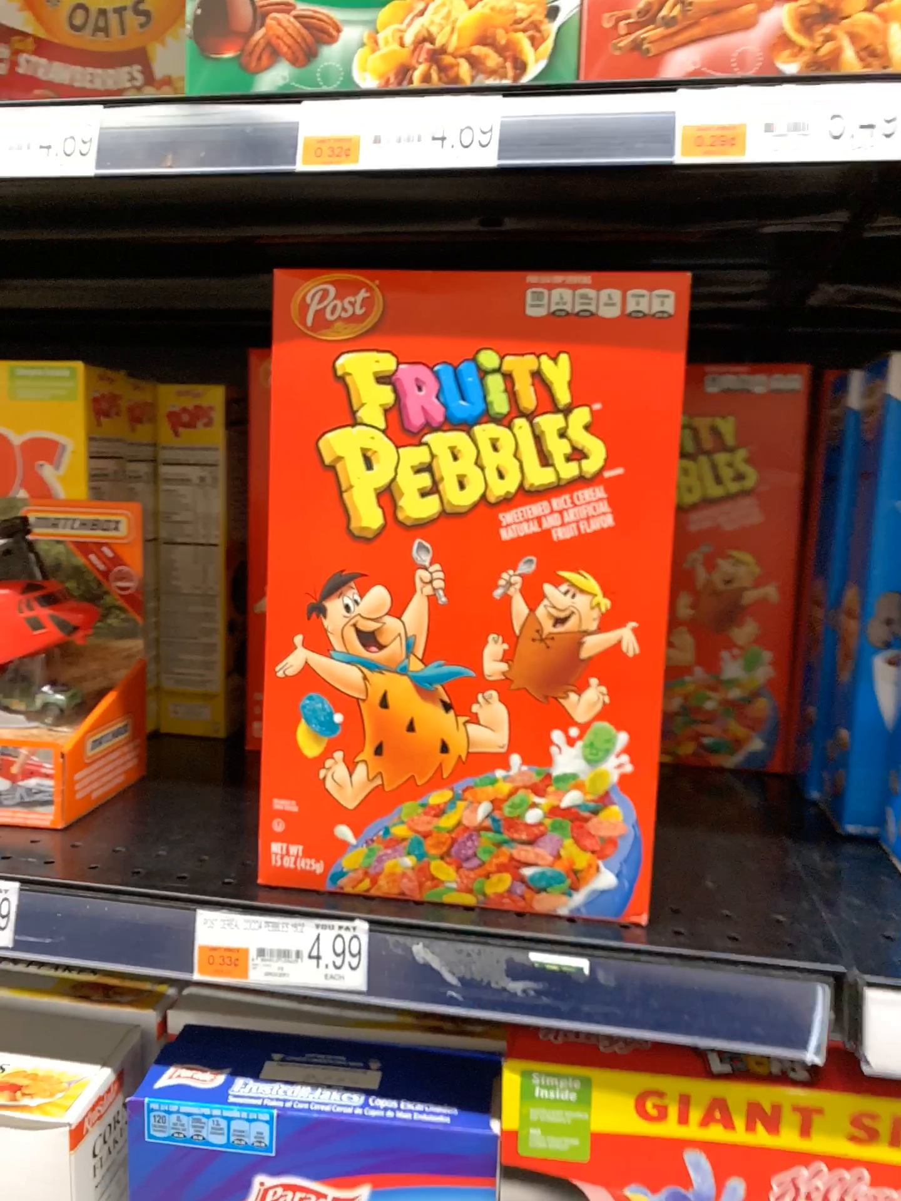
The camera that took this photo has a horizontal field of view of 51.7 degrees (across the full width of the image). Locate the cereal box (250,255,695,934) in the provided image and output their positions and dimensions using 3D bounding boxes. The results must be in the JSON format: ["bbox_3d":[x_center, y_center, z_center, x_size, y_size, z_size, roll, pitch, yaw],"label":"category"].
[{"bbox_3d":[0.008,-0.006,0.468,0.200,0.310,0.060,3,6,10],"label":"cereal box"}]
